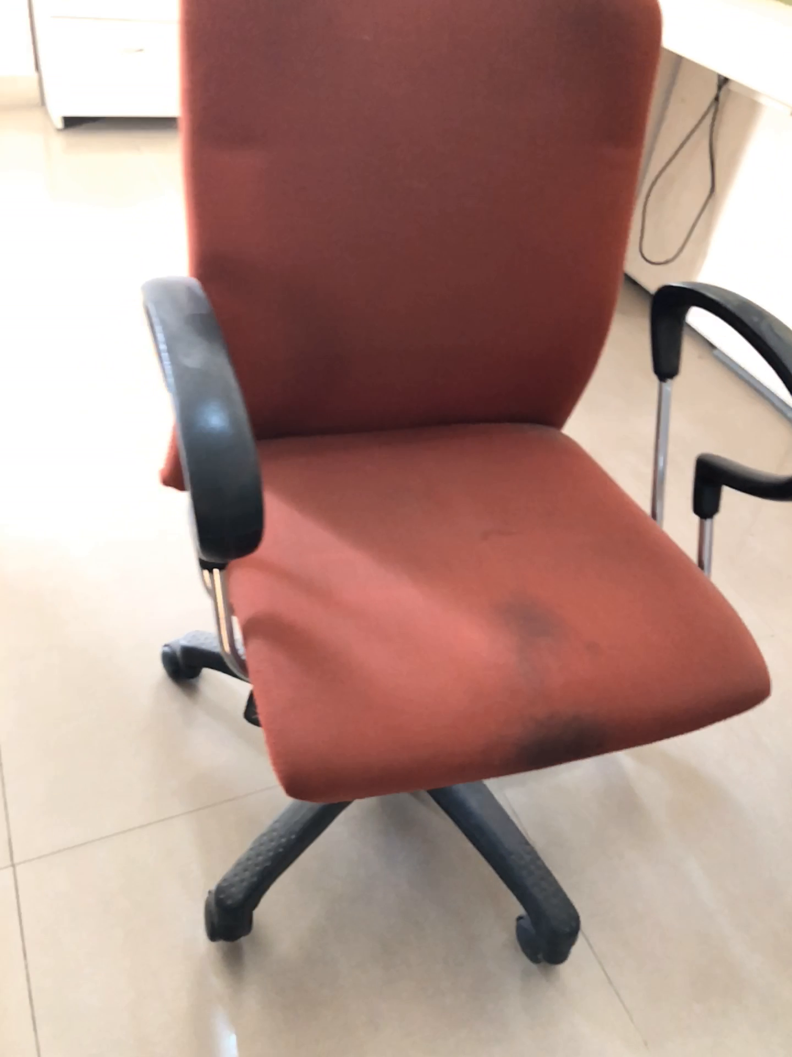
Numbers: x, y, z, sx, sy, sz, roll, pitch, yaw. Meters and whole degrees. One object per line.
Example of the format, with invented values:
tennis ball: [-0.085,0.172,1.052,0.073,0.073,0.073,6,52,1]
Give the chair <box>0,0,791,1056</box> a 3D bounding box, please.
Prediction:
chair: [0.048,-0.008,0.962,0.771,1.043,0.704,-6,43,-18]
